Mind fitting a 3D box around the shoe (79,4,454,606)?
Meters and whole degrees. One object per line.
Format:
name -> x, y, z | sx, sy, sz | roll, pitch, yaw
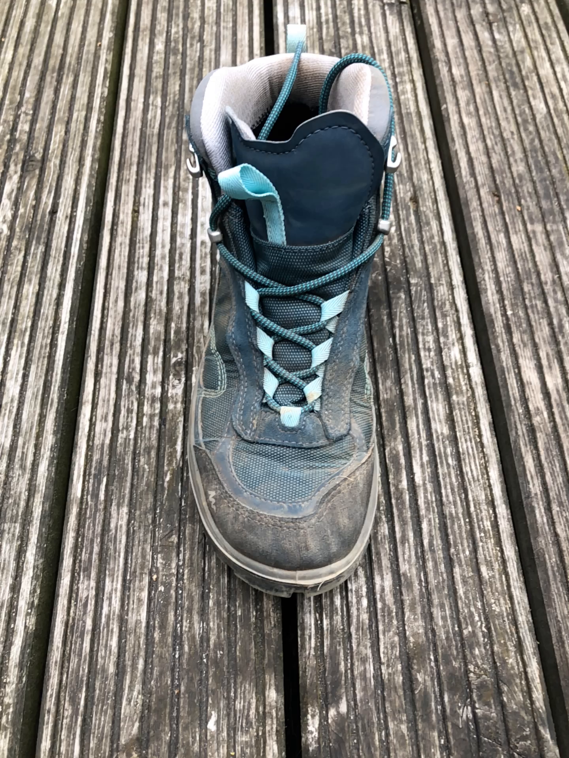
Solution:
shoe -> -0.004, -0.041, 0.317 | 0.120, 0.120, 0.281 | -1, 63, 2
